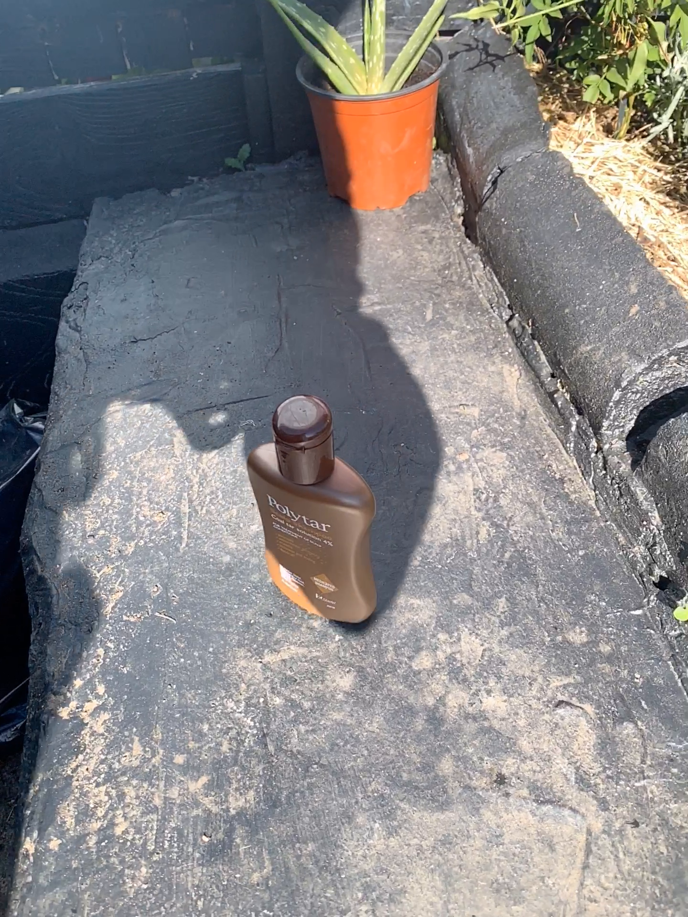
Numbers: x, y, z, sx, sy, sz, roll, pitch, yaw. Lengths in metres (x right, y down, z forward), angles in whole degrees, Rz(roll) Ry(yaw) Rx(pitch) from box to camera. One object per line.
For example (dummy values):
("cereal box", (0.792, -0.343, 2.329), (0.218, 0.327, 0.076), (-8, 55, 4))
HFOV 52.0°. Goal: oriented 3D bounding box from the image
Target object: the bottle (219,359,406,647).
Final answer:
("bottle", (-0.011, 0.029, 0.358), (0.070, 0.149, 0.040), (20, 52, 20))
